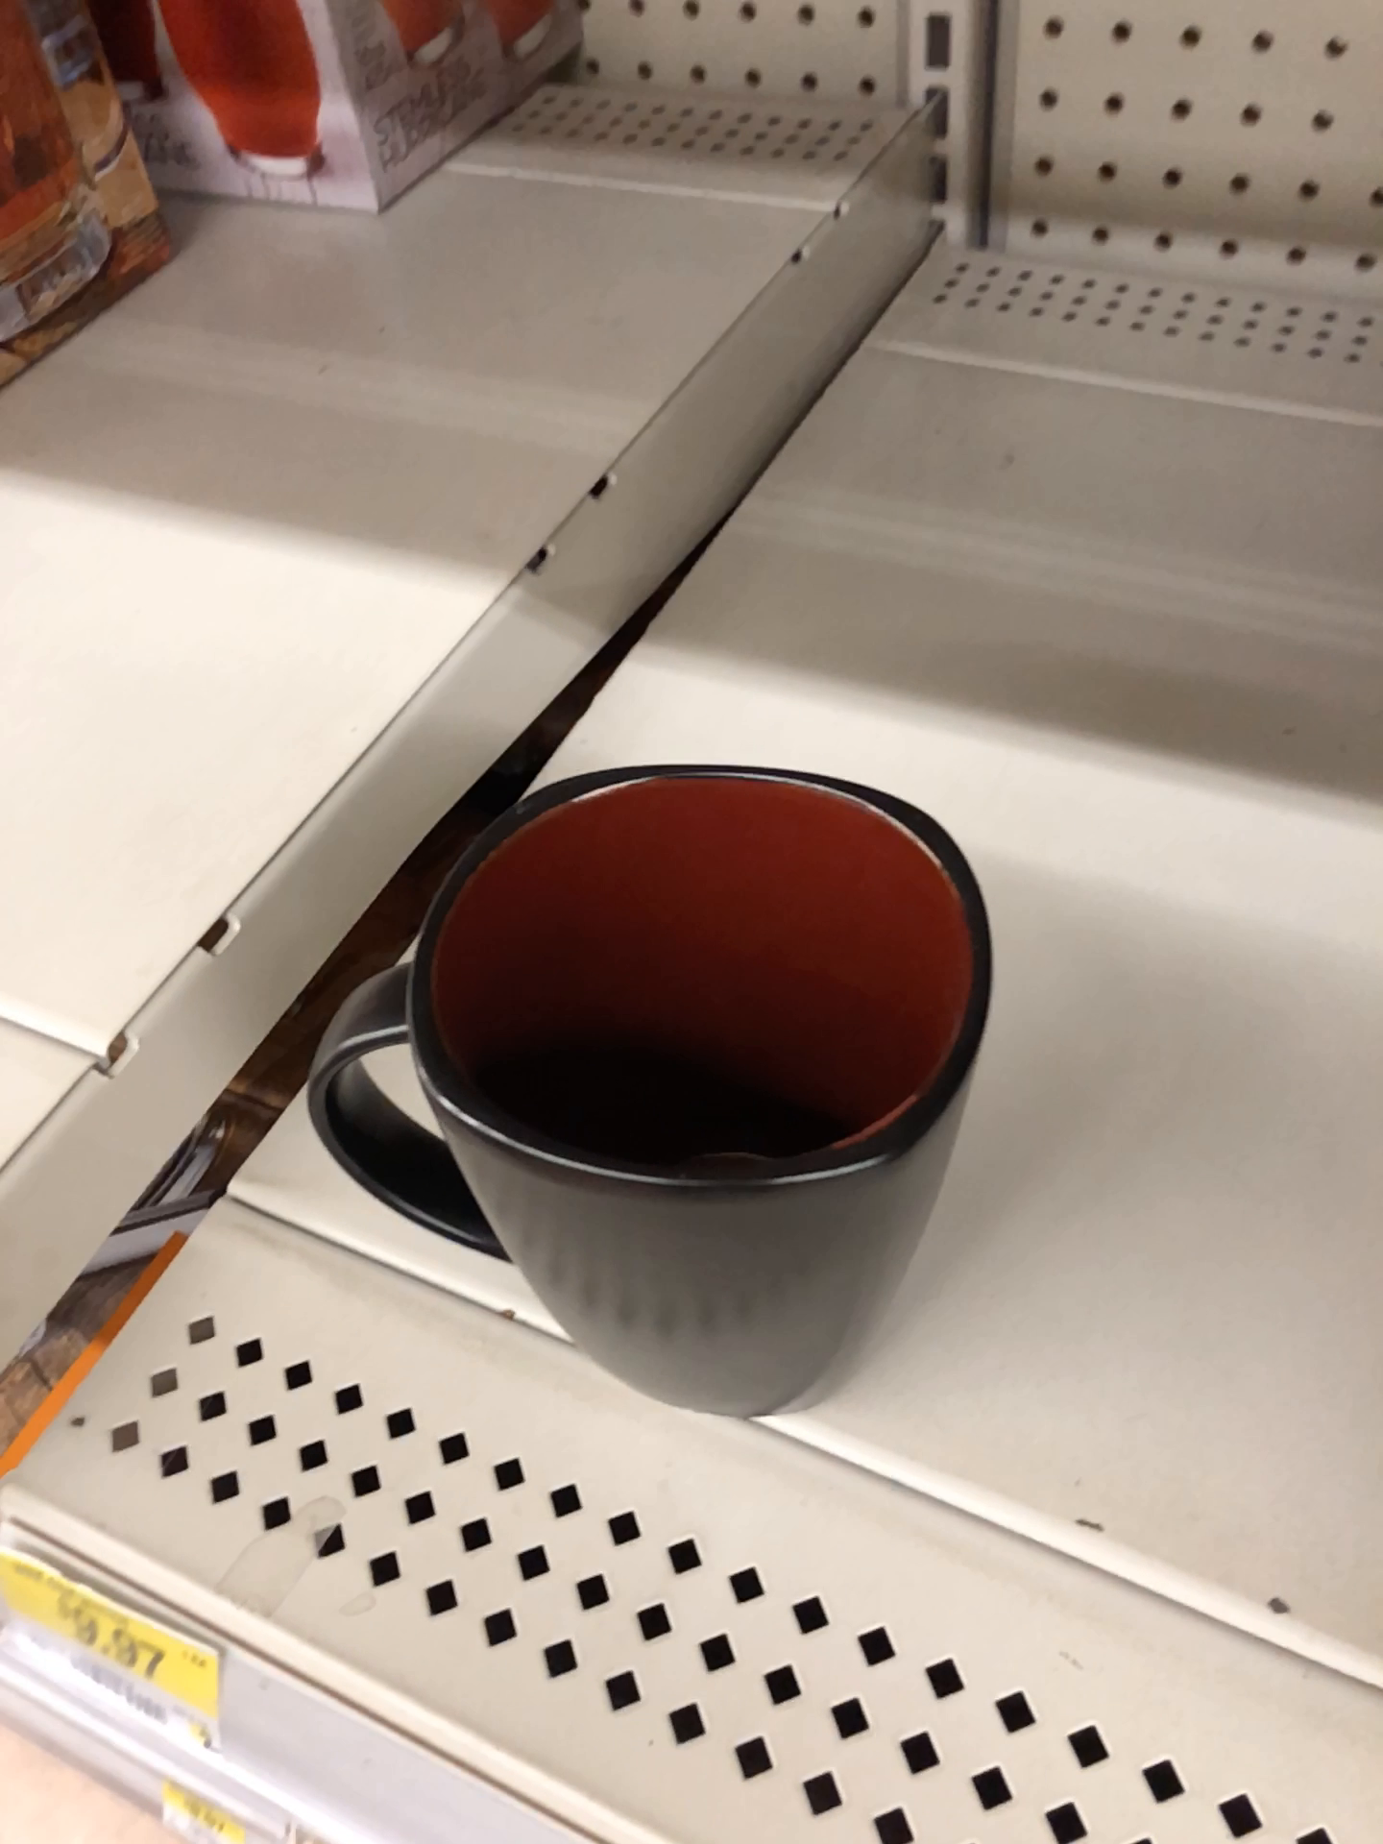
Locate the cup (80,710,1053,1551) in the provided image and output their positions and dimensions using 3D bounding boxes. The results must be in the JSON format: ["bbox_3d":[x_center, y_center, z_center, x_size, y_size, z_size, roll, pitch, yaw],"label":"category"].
[{"bbox_3d":[-0.010,0.035,0.272,0.130,0.100,0.090,6,49,13],"label":"cup"}]
